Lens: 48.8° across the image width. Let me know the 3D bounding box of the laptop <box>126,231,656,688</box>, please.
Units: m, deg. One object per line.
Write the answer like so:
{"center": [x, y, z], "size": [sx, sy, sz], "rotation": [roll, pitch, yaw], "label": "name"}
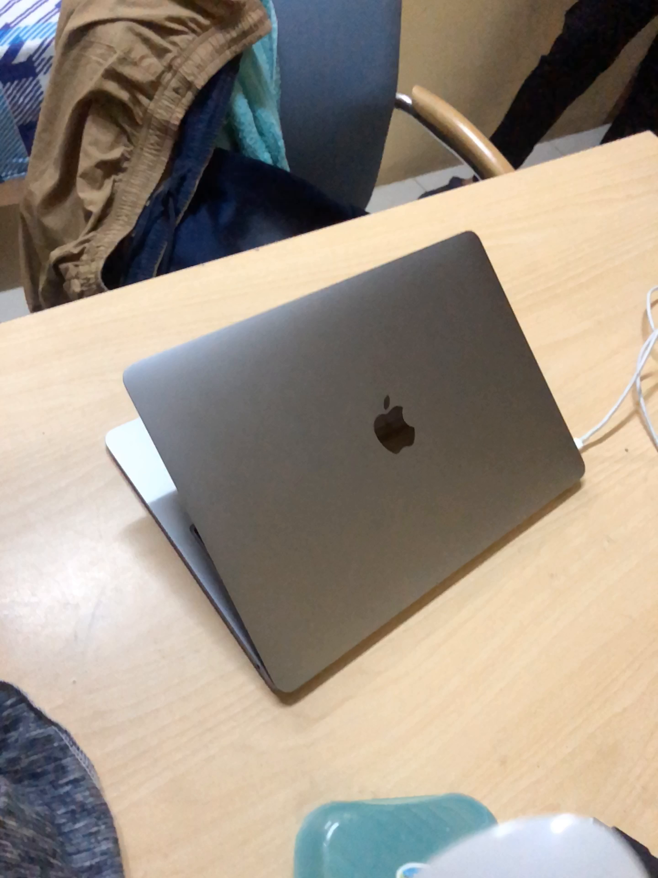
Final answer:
{"center": [0.043, -0.009, 0.495], "size": [0.295, 0.094, 0.193], "rotation": [-27, 66, -30], "label": "laptop"}
